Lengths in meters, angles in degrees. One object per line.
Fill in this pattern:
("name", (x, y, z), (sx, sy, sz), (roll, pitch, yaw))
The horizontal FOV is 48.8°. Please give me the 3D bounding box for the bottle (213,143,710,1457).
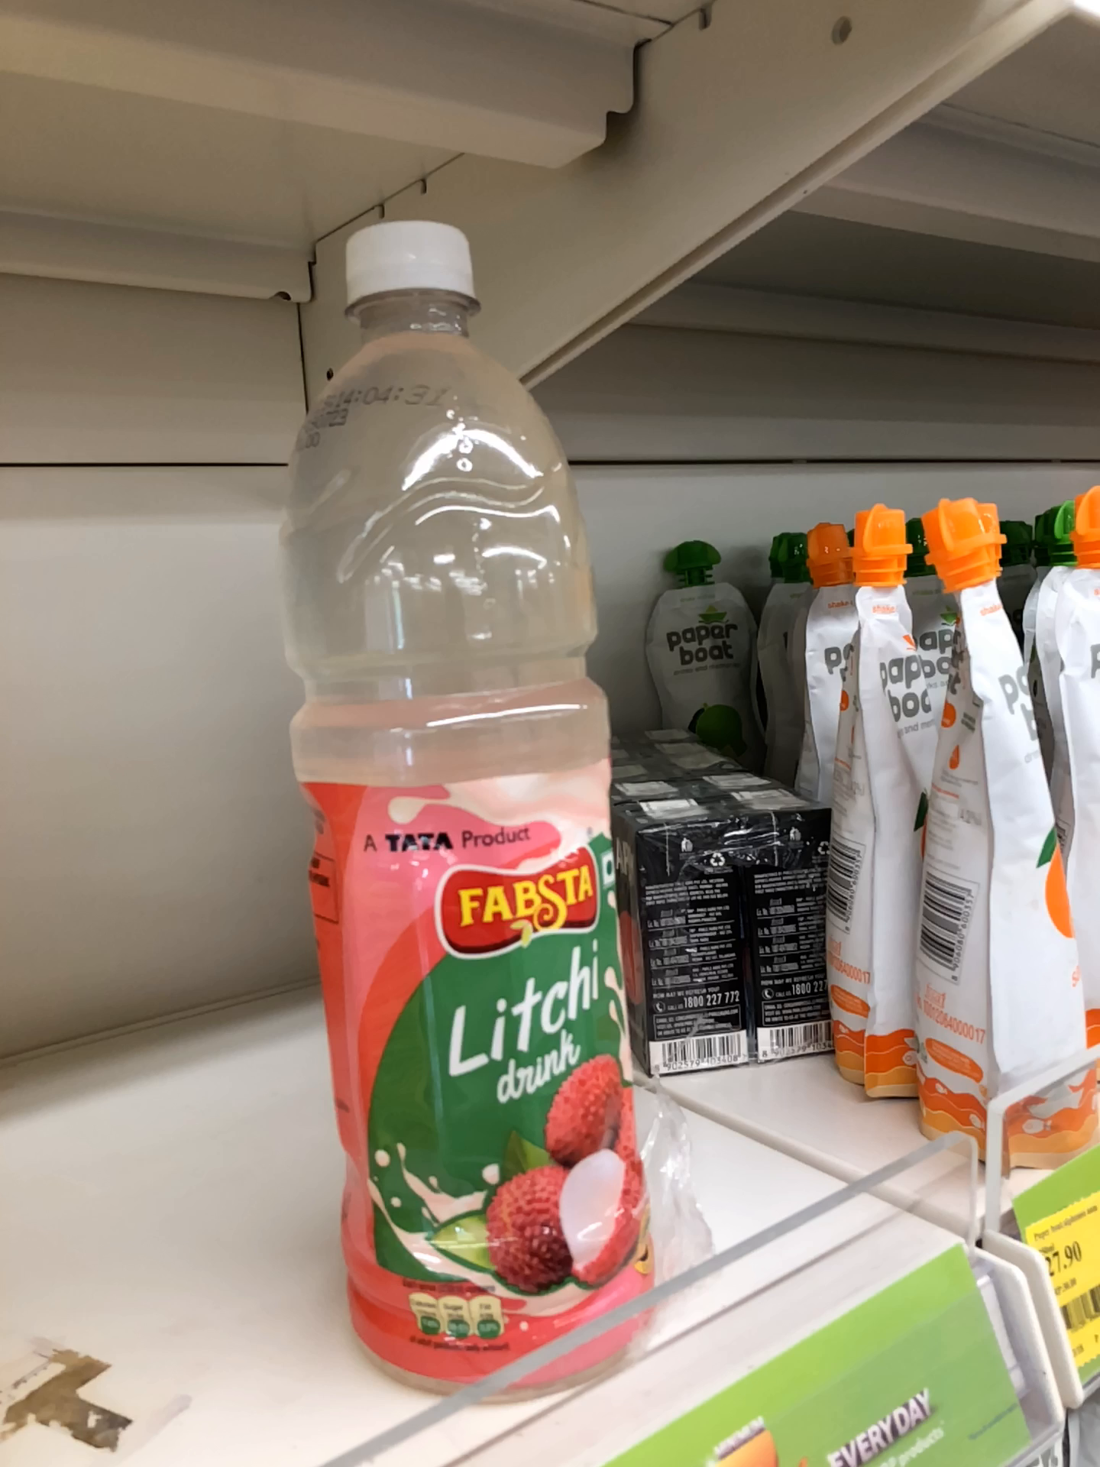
("bottle", (-0.021, 0.014, 0.293), (0.080, 0.269, 0.070), (-7, 8, -25))
